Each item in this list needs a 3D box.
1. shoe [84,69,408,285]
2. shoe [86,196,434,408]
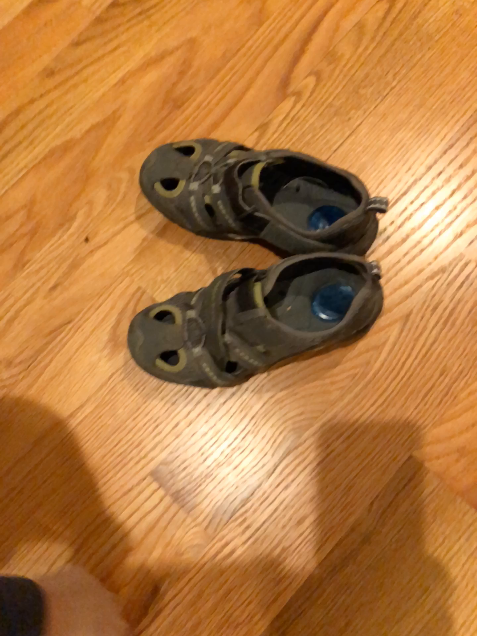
[{"bbox_3d":[0.009,-0.124,0.482,0.245,0.113,0.100,16,79,10],"label":"shoe"},{"bbox_3d":[0.016,-0.004,0.450,0.245,0.113,0.100,-13,75,3],"label":"shoe"}]
